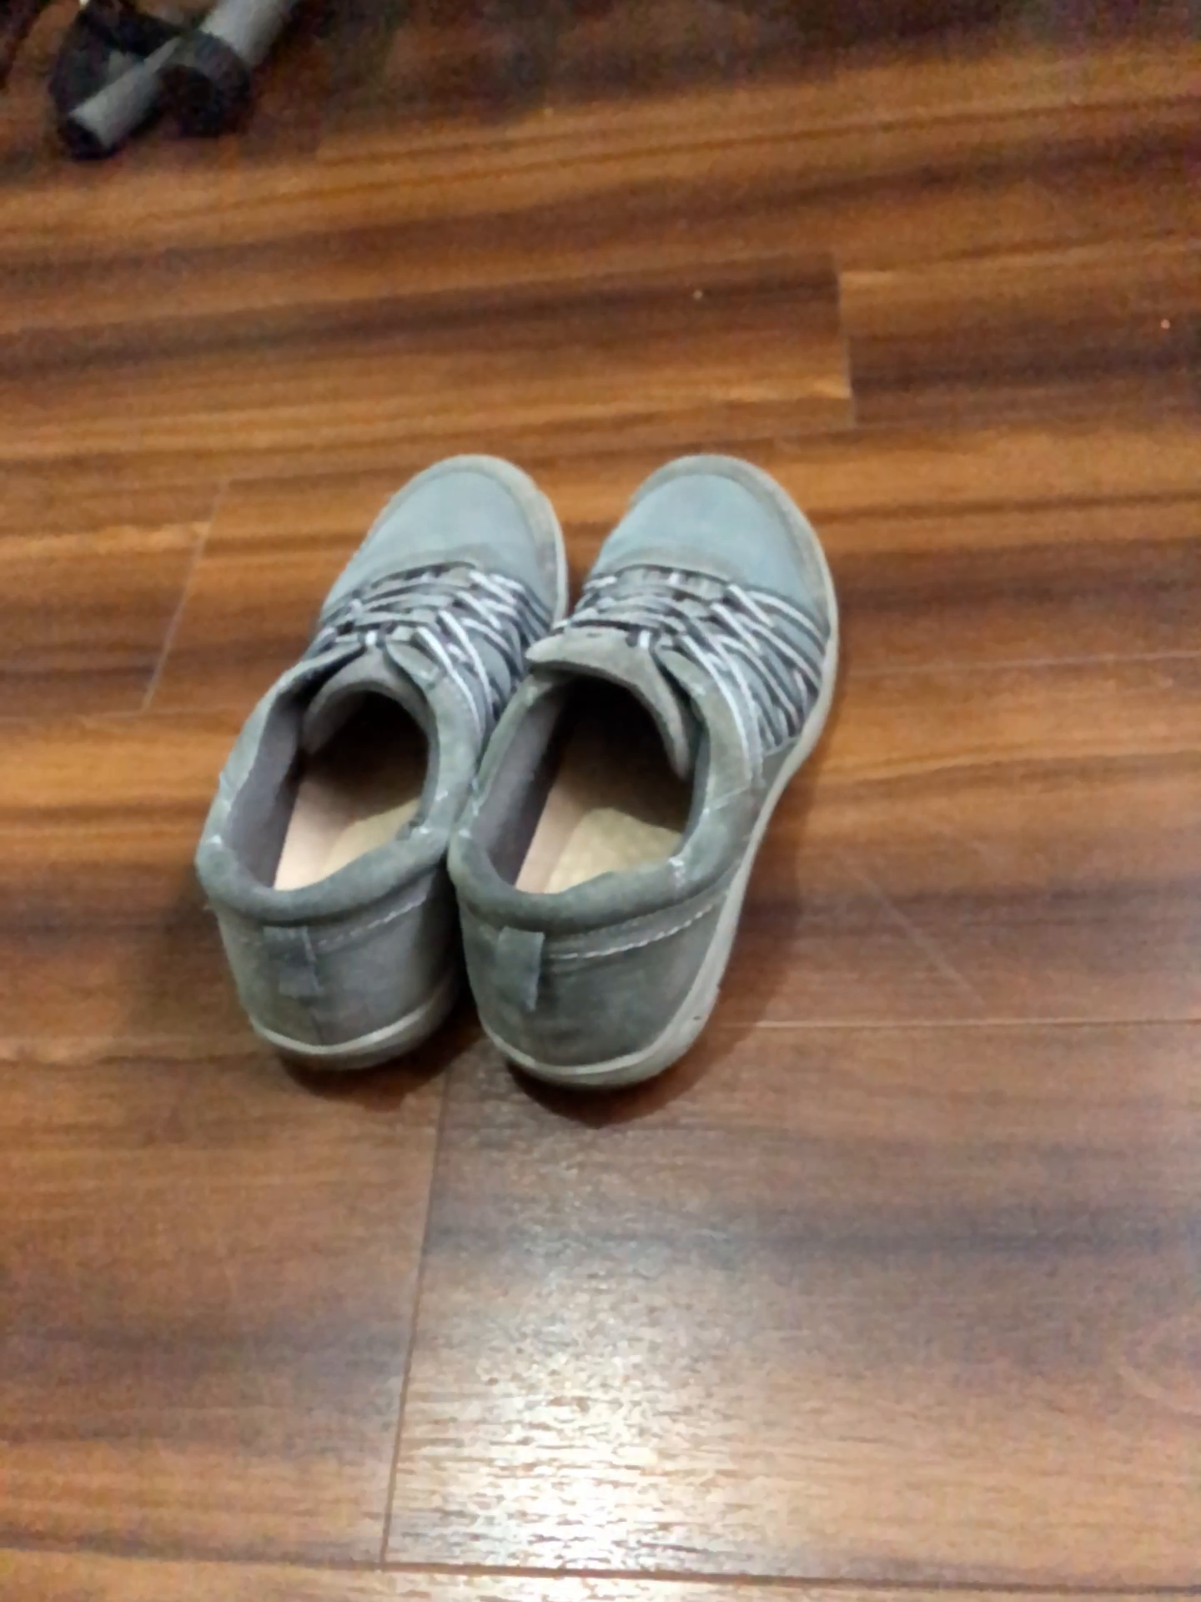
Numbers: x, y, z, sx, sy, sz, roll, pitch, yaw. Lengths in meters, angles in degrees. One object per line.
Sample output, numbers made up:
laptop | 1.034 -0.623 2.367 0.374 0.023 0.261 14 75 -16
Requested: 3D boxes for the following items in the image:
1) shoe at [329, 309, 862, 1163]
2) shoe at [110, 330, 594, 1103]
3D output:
shoe | 0.020 -0.039 0.459 0.100 0.109 0.282 6 54 16
shoe | -0.071 -0.042 0.499 0.100 0.109 0.282 -2 52 9
